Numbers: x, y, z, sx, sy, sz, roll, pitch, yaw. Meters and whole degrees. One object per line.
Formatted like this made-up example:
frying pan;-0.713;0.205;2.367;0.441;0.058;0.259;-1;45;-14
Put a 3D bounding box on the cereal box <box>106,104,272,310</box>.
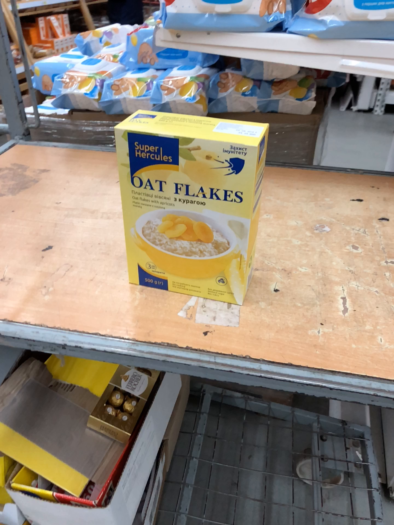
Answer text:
cereal box;-0.005;-0.062;0.493;0.150;0.199;0.081;11;37;15
